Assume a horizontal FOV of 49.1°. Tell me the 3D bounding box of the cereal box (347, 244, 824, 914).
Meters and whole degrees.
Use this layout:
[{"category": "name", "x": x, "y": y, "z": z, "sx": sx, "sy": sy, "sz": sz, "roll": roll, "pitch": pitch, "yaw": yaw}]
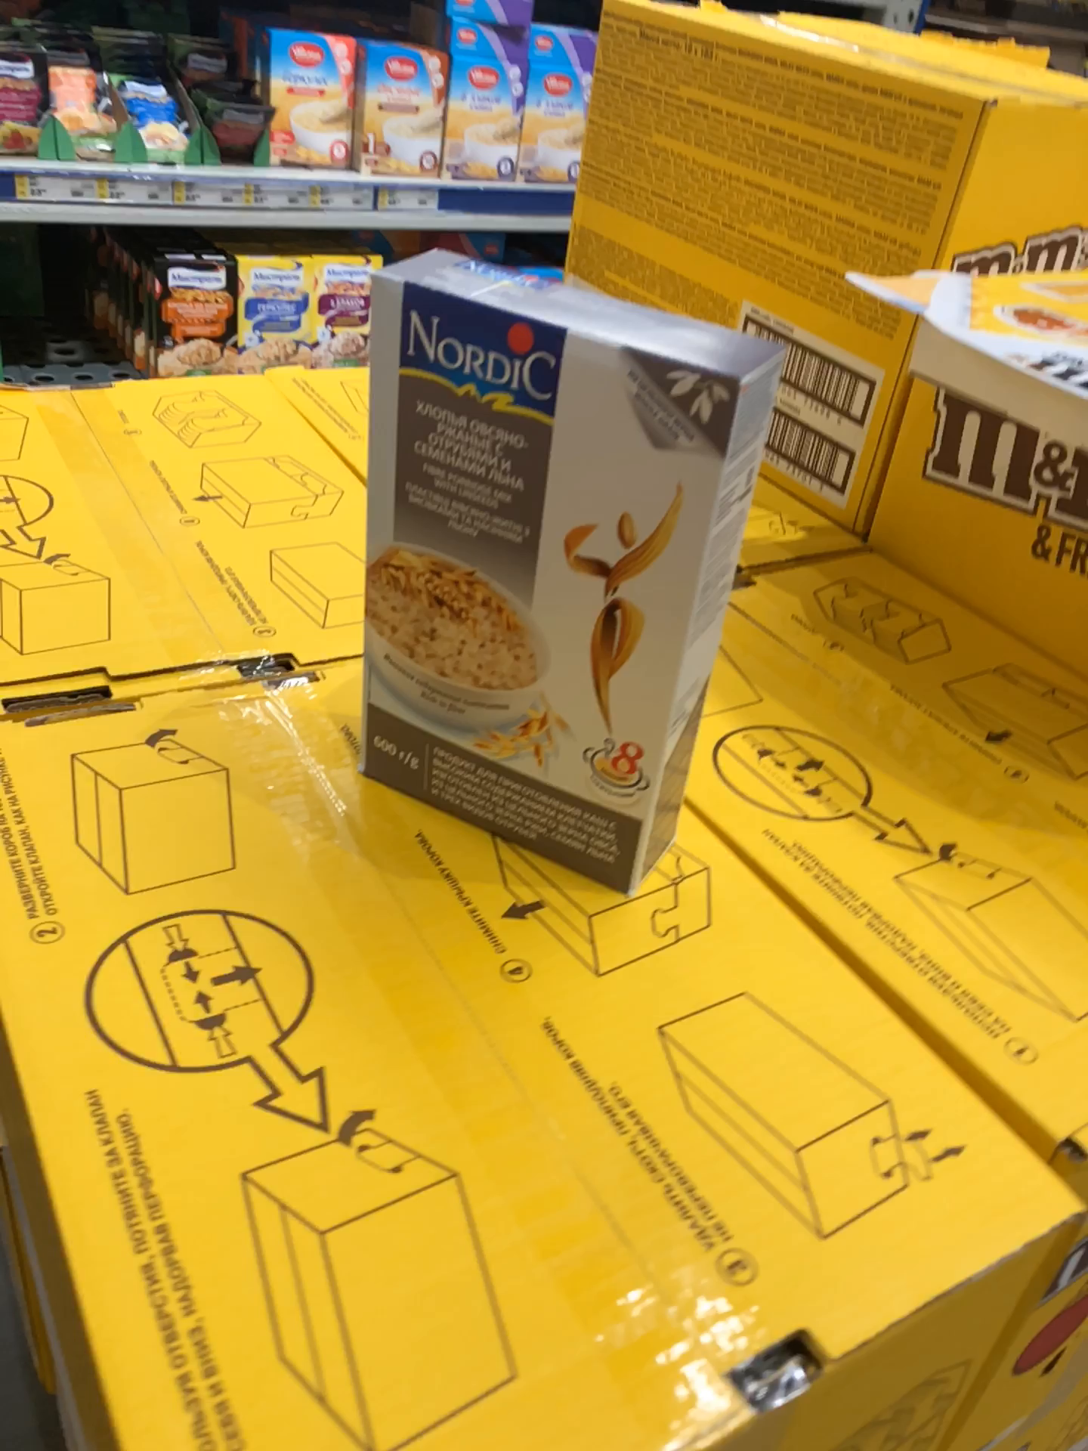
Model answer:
[{"category": "cereal box", "x": 0.002, "y": -0.052, "z": 0.465, "sx": 0.150, "sy": 0.218, "sz": 0.050, "roll": 24, "pitch": 37, "yaw": 20}]
